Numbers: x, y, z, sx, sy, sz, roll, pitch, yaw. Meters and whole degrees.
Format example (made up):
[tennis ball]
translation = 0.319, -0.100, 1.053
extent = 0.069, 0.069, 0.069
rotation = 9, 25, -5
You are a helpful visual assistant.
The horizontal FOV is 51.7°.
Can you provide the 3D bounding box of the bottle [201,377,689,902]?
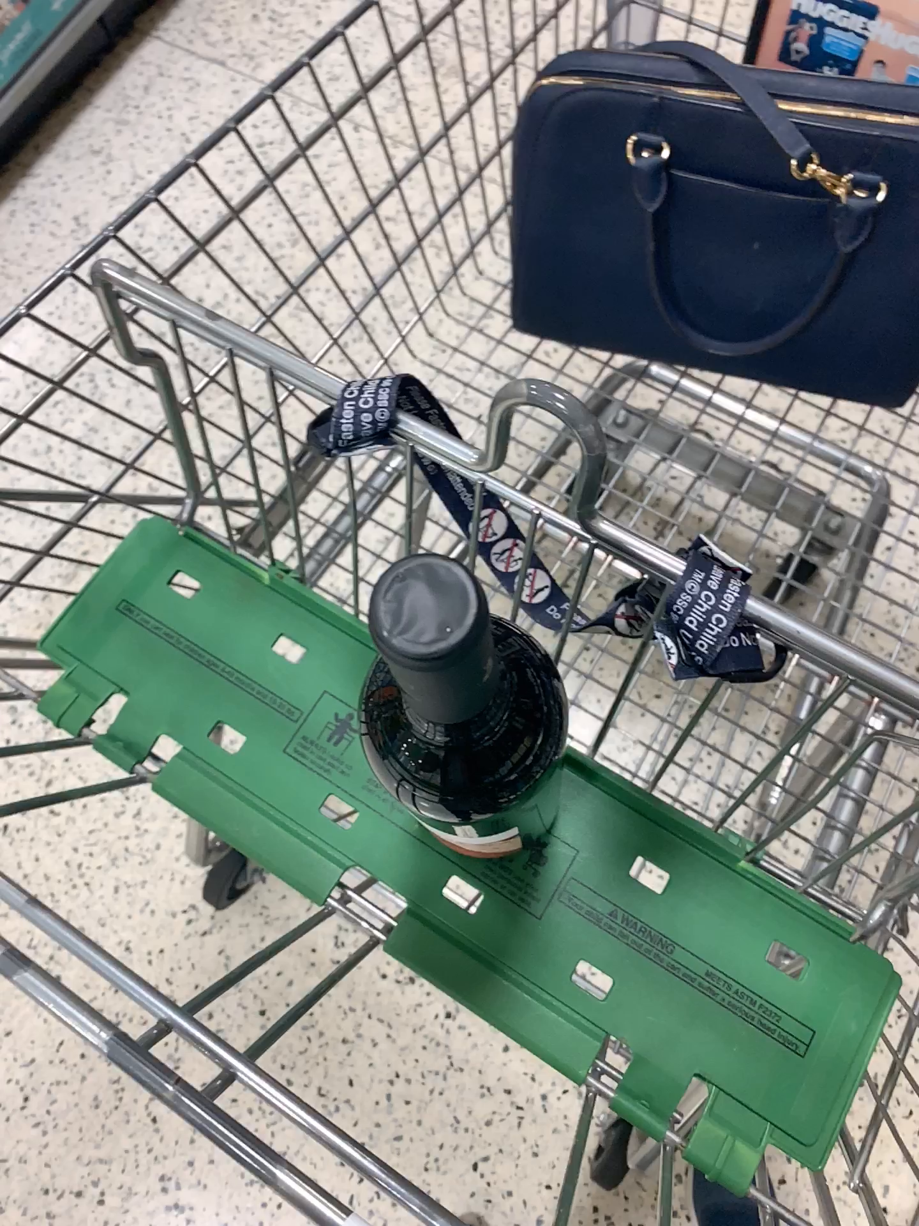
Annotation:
[bottle]
translation = 0.008, 0.043, 0.357
extent = 0.080, 0.299, 0.080
rotation = -1, 70, 4
